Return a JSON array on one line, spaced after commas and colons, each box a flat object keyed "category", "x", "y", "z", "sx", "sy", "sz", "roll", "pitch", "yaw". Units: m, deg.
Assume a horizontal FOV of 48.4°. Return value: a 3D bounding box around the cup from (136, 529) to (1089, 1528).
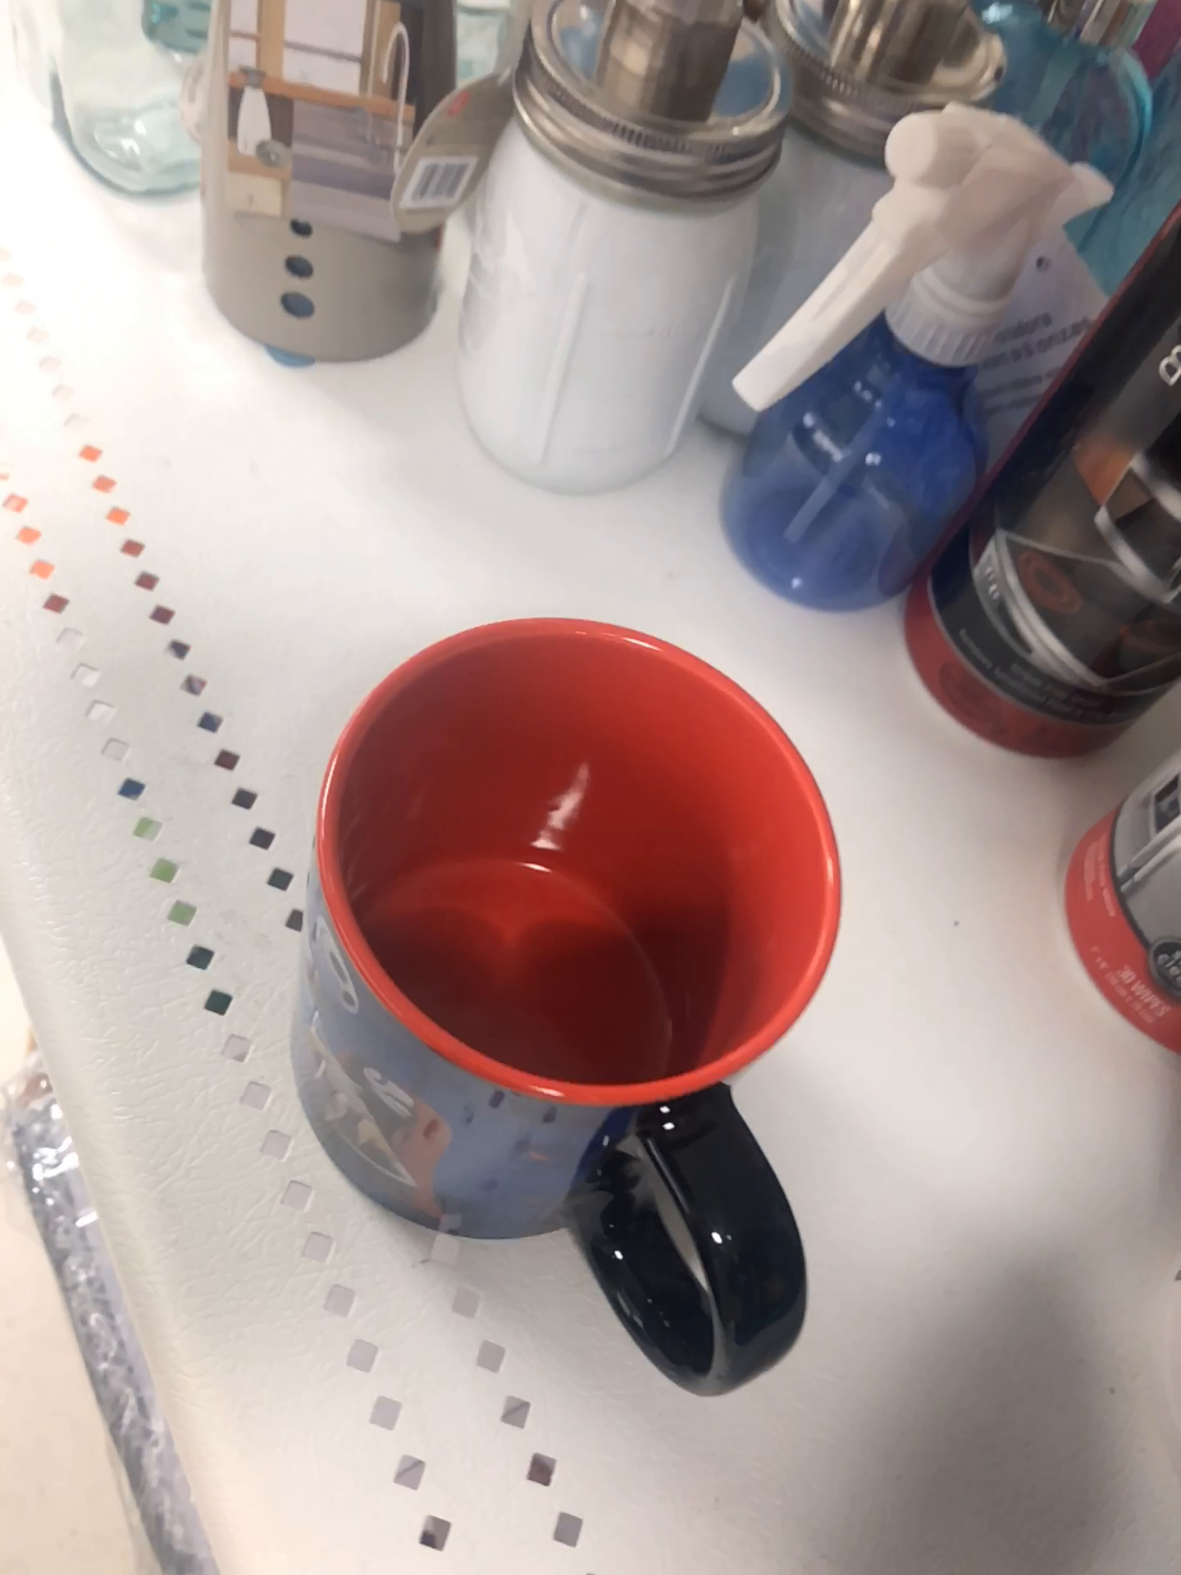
[{"category": "cup", "x": -0.007, "y": 0.048, "z": 0.277, "sx": 0.113, "sy": 0.103, "sz": 0.147, "roll": -24, "pitch": 69, "yaw": -26}]
